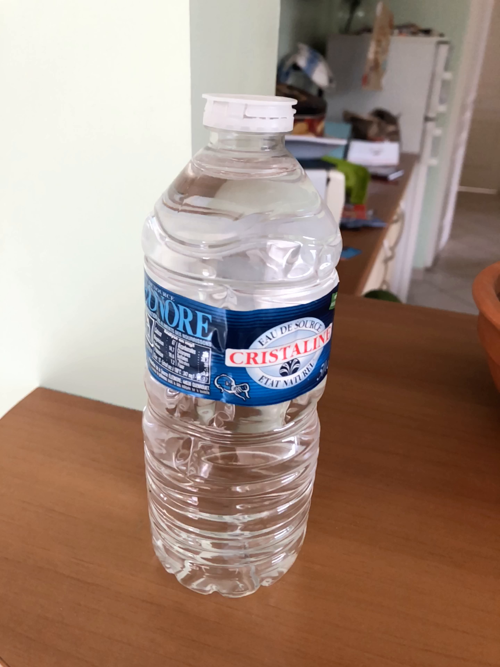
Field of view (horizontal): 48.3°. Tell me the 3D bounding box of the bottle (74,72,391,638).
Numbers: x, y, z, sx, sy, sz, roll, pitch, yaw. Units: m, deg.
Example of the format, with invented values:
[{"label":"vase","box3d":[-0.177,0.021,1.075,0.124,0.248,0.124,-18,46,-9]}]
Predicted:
[{"label":"bottle","box3d":[-0.011,0.008,0.212,0.070,0.189,0.070,2,26,-1]}]
